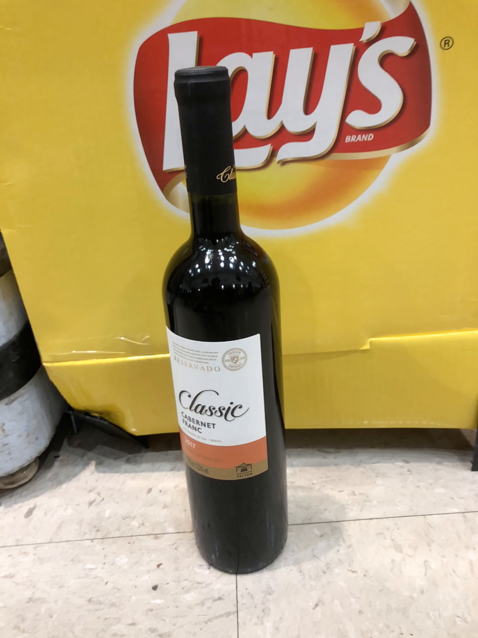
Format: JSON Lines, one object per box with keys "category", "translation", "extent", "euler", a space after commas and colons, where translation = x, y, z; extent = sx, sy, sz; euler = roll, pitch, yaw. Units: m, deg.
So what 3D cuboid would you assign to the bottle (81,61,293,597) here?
{"category": "bottle", "translation": [-0.015, 0.024, 0.320], "extent": [0.070, 0.318, 0.060], "euler": [7, 29, 23]}
